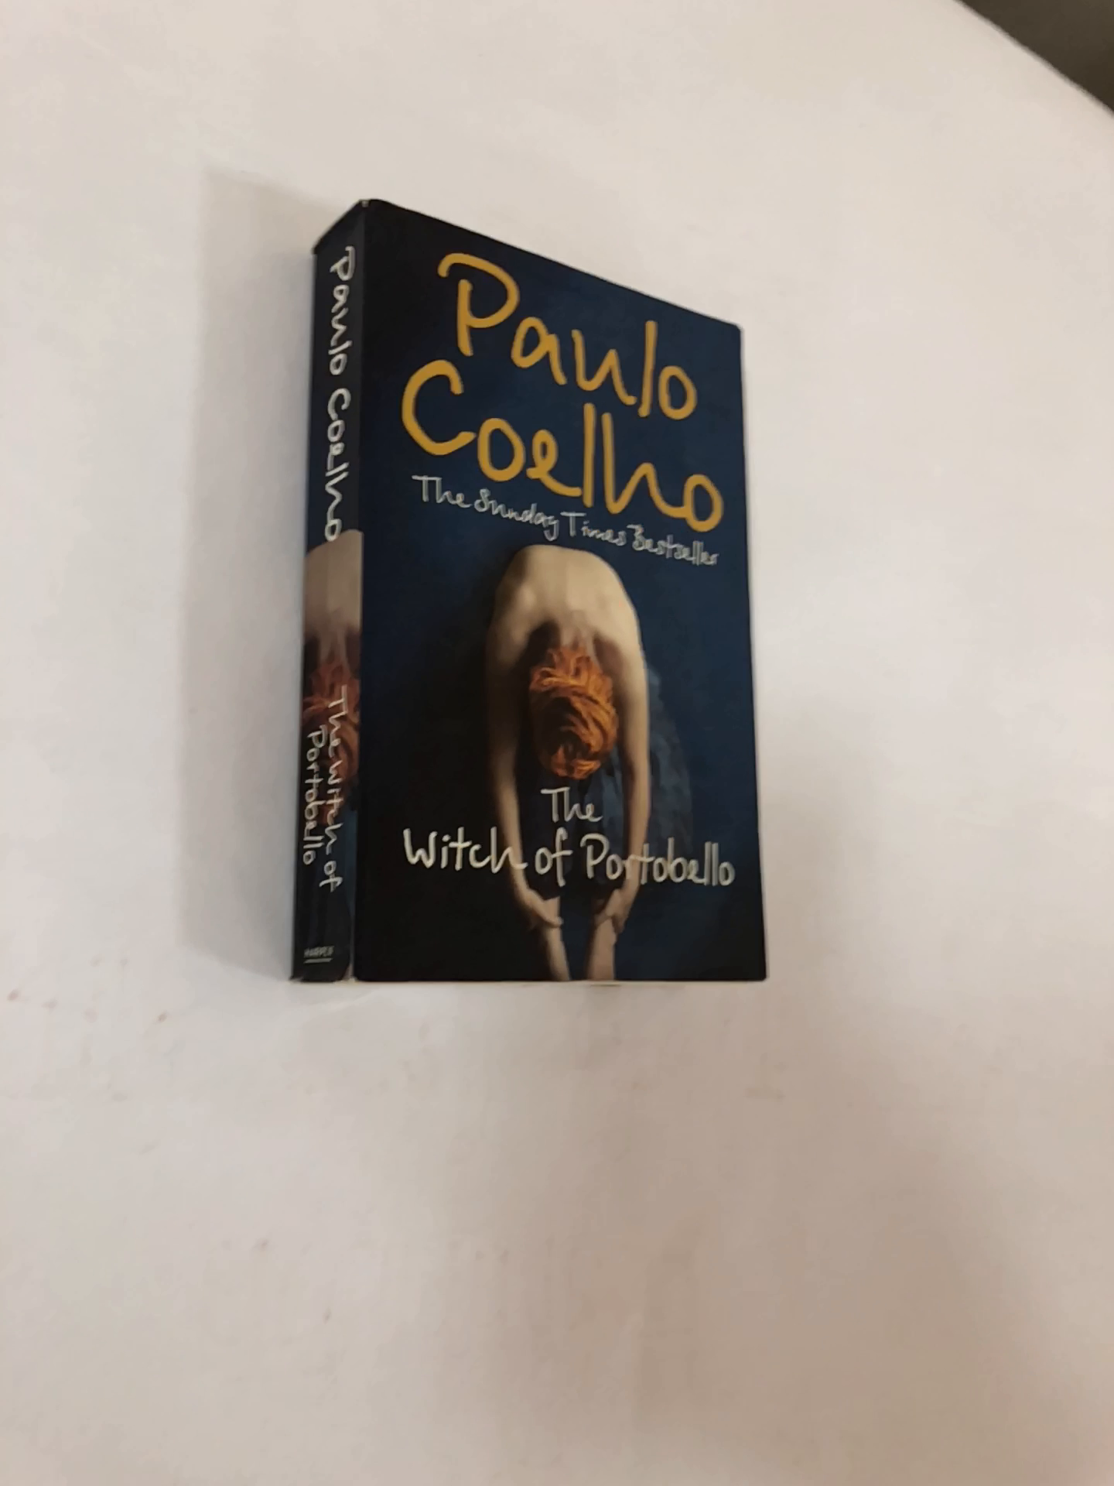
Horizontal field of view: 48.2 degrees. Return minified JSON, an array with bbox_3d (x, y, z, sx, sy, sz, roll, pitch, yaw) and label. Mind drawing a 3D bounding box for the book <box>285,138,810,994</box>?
[{"bbox_3d":[0.001,-0.033,0.295,0.120,0.030,0.180,7,76,-33],"label":"book"}]
